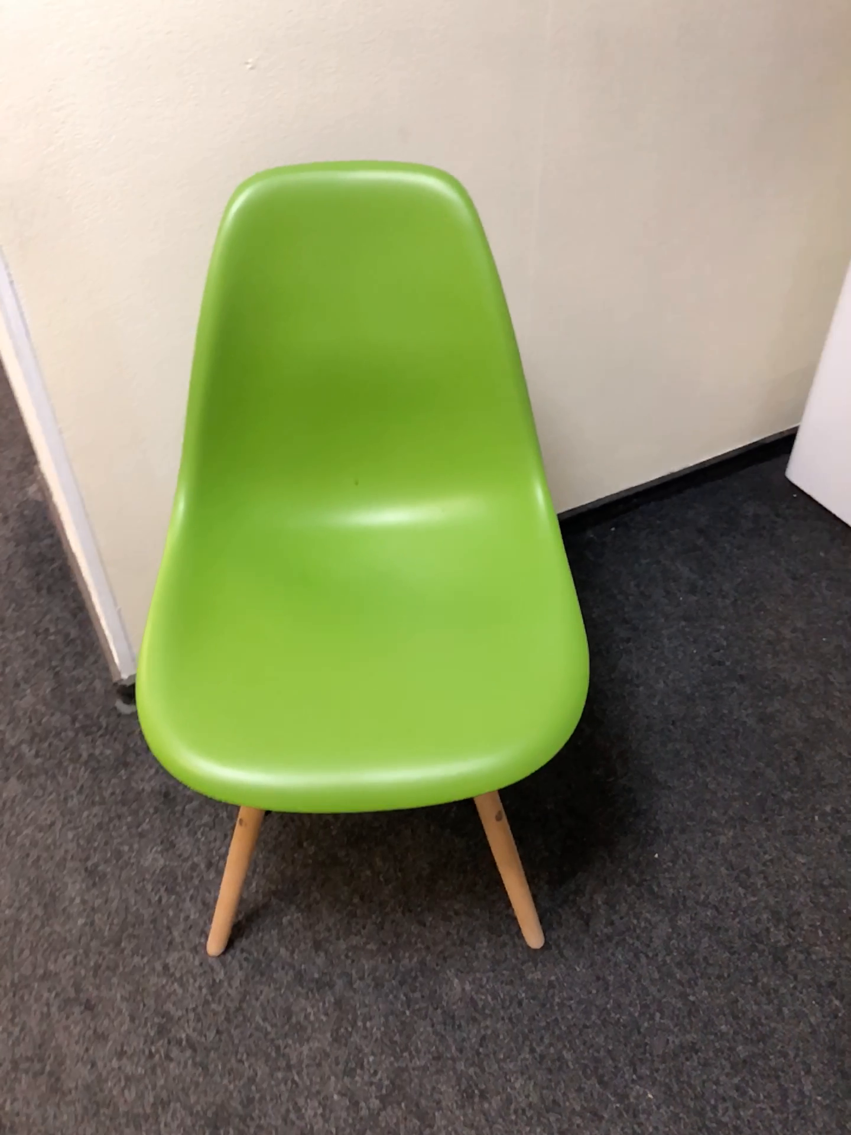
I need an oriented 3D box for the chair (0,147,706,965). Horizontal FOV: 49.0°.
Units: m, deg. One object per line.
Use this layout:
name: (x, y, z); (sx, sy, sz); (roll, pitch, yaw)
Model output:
chair: (-0.057, -0.002, 1.049); (0.480, 0.705, 0.584); (0, 43, 0)
